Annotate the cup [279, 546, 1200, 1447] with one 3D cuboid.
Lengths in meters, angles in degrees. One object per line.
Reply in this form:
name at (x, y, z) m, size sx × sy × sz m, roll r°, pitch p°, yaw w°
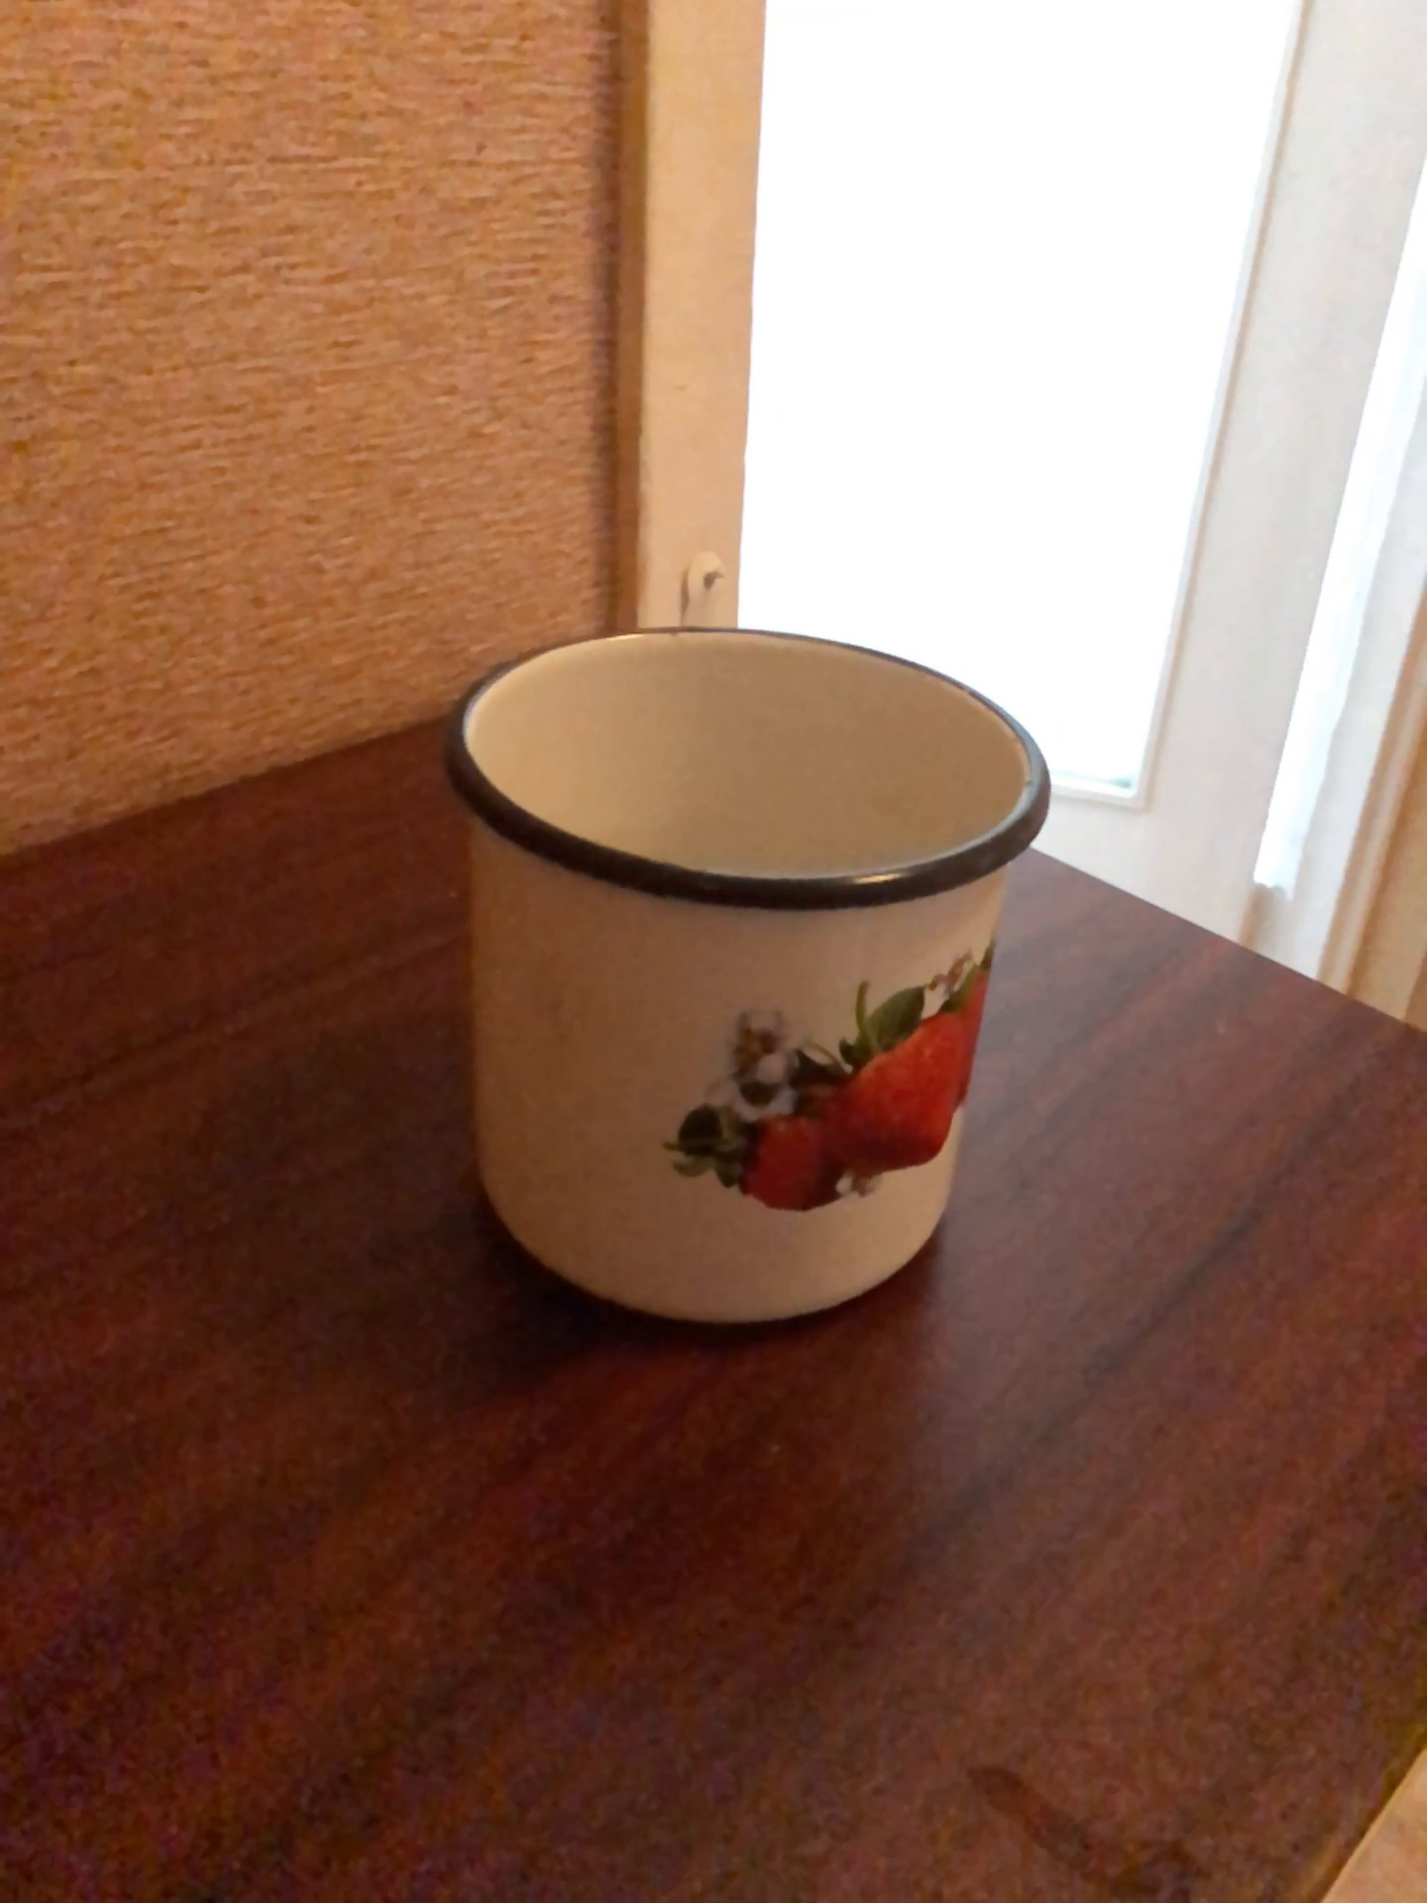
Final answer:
cup at (0.009, -0.005, 0.353) m, size 0.119 × 0.113 × 0.156 m, roll 25°, pitch 38°, yaw 33°
